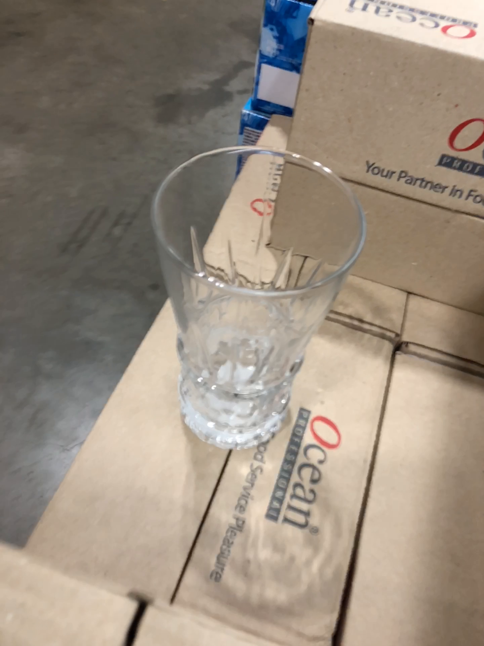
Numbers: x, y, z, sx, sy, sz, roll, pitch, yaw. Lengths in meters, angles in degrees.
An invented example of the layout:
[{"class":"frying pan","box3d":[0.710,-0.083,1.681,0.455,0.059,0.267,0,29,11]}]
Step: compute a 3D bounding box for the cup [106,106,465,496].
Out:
[{"class":"cup","box3d":[0.003,-0.006,0.241,0.100,0.130,0.100,4,52,-5]}]
